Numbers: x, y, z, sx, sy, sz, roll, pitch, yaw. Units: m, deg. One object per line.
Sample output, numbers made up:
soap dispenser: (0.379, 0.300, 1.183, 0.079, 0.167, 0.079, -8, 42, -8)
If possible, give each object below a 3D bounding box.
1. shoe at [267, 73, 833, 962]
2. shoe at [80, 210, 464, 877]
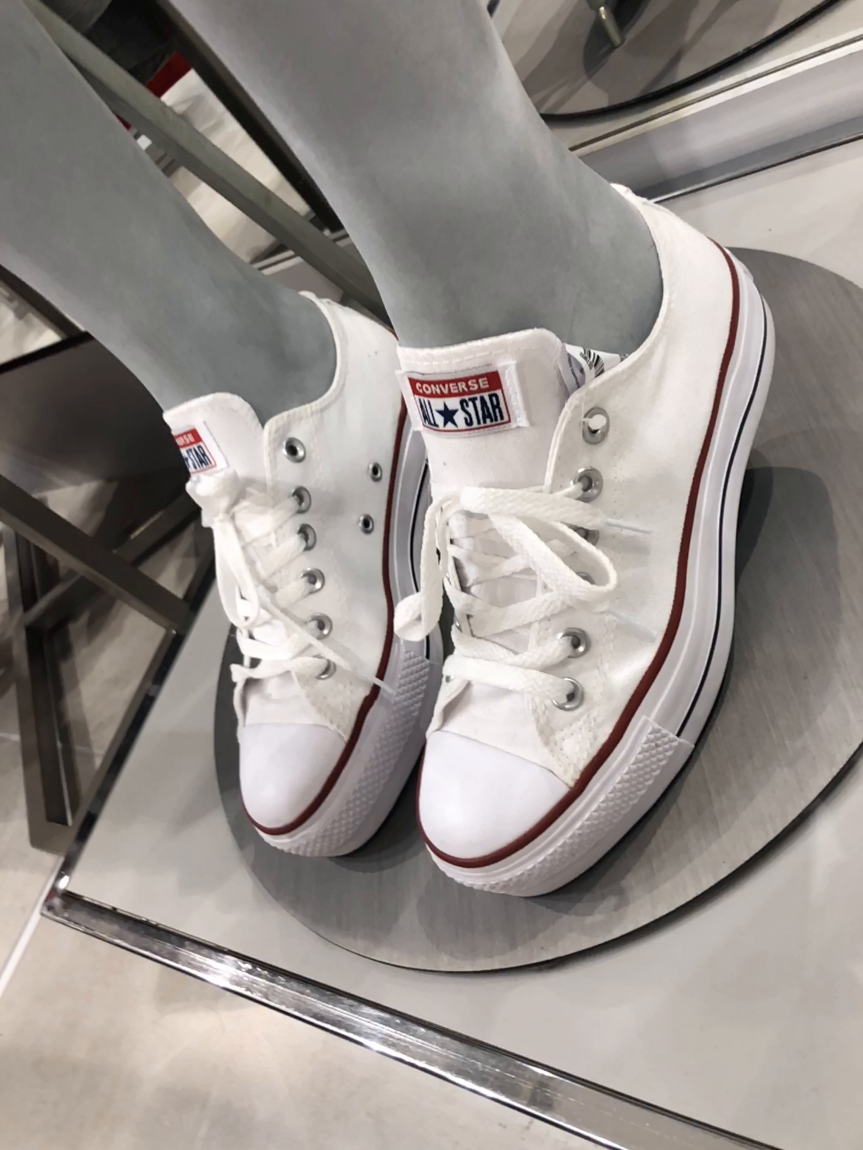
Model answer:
shoe: (0.047, -0.020, 0.356, 0.111, 0.089, 0.280, 8, 78, 46)
shoe: (-0.064, -0.011, 0.436, 0.100, 0.089, 0.271, -8, 68, 38)
